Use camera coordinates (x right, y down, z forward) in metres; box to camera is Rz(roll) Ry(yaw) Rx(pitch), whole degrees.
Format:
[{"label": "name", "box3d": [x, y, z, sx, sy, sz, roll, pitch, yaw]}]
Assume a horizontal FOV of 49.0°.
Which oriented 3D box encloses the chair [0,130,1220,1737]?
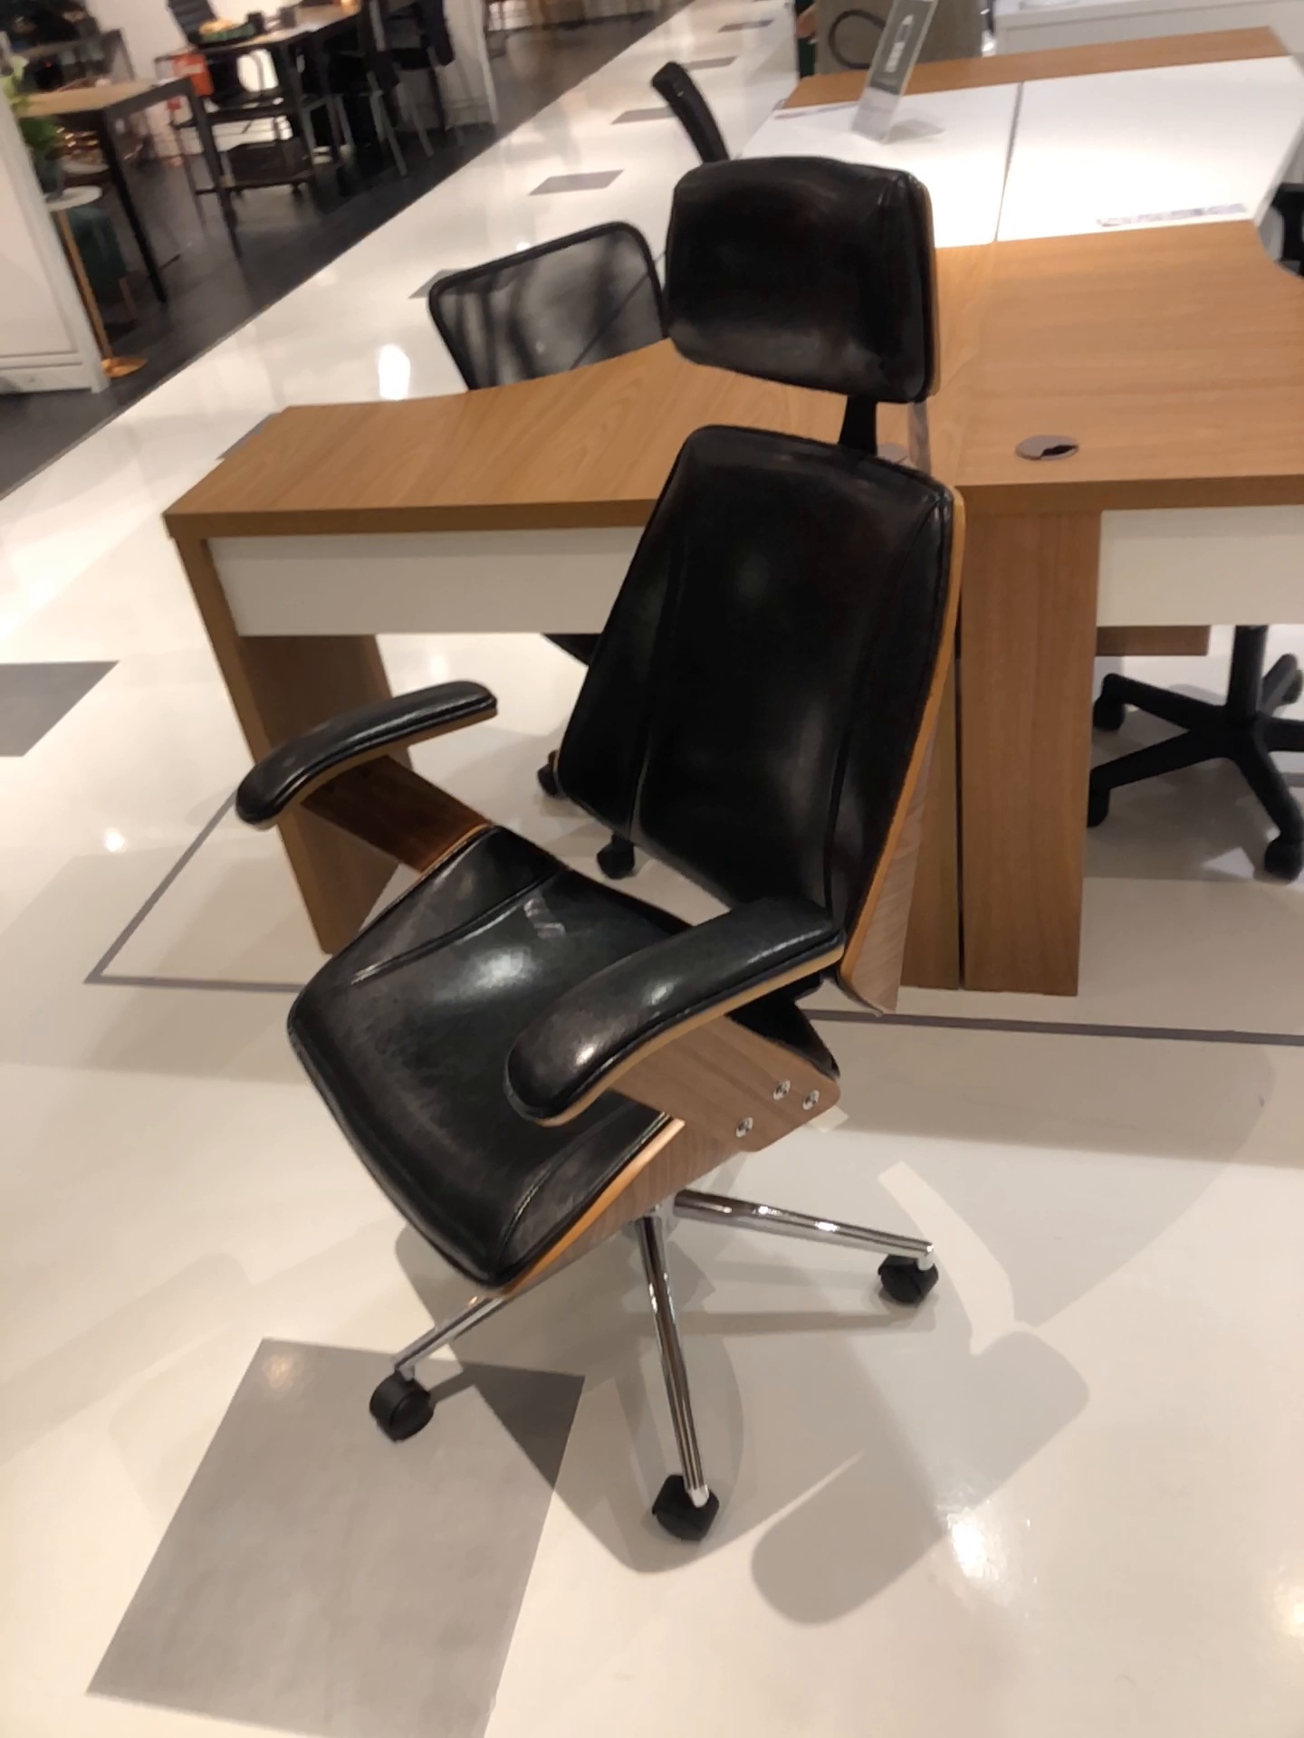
[{"label": "chair", "box3d": [-0.064, 0.010, 1.349, 0.762, 1.101, 0.724, -31, 40, -27]}]
